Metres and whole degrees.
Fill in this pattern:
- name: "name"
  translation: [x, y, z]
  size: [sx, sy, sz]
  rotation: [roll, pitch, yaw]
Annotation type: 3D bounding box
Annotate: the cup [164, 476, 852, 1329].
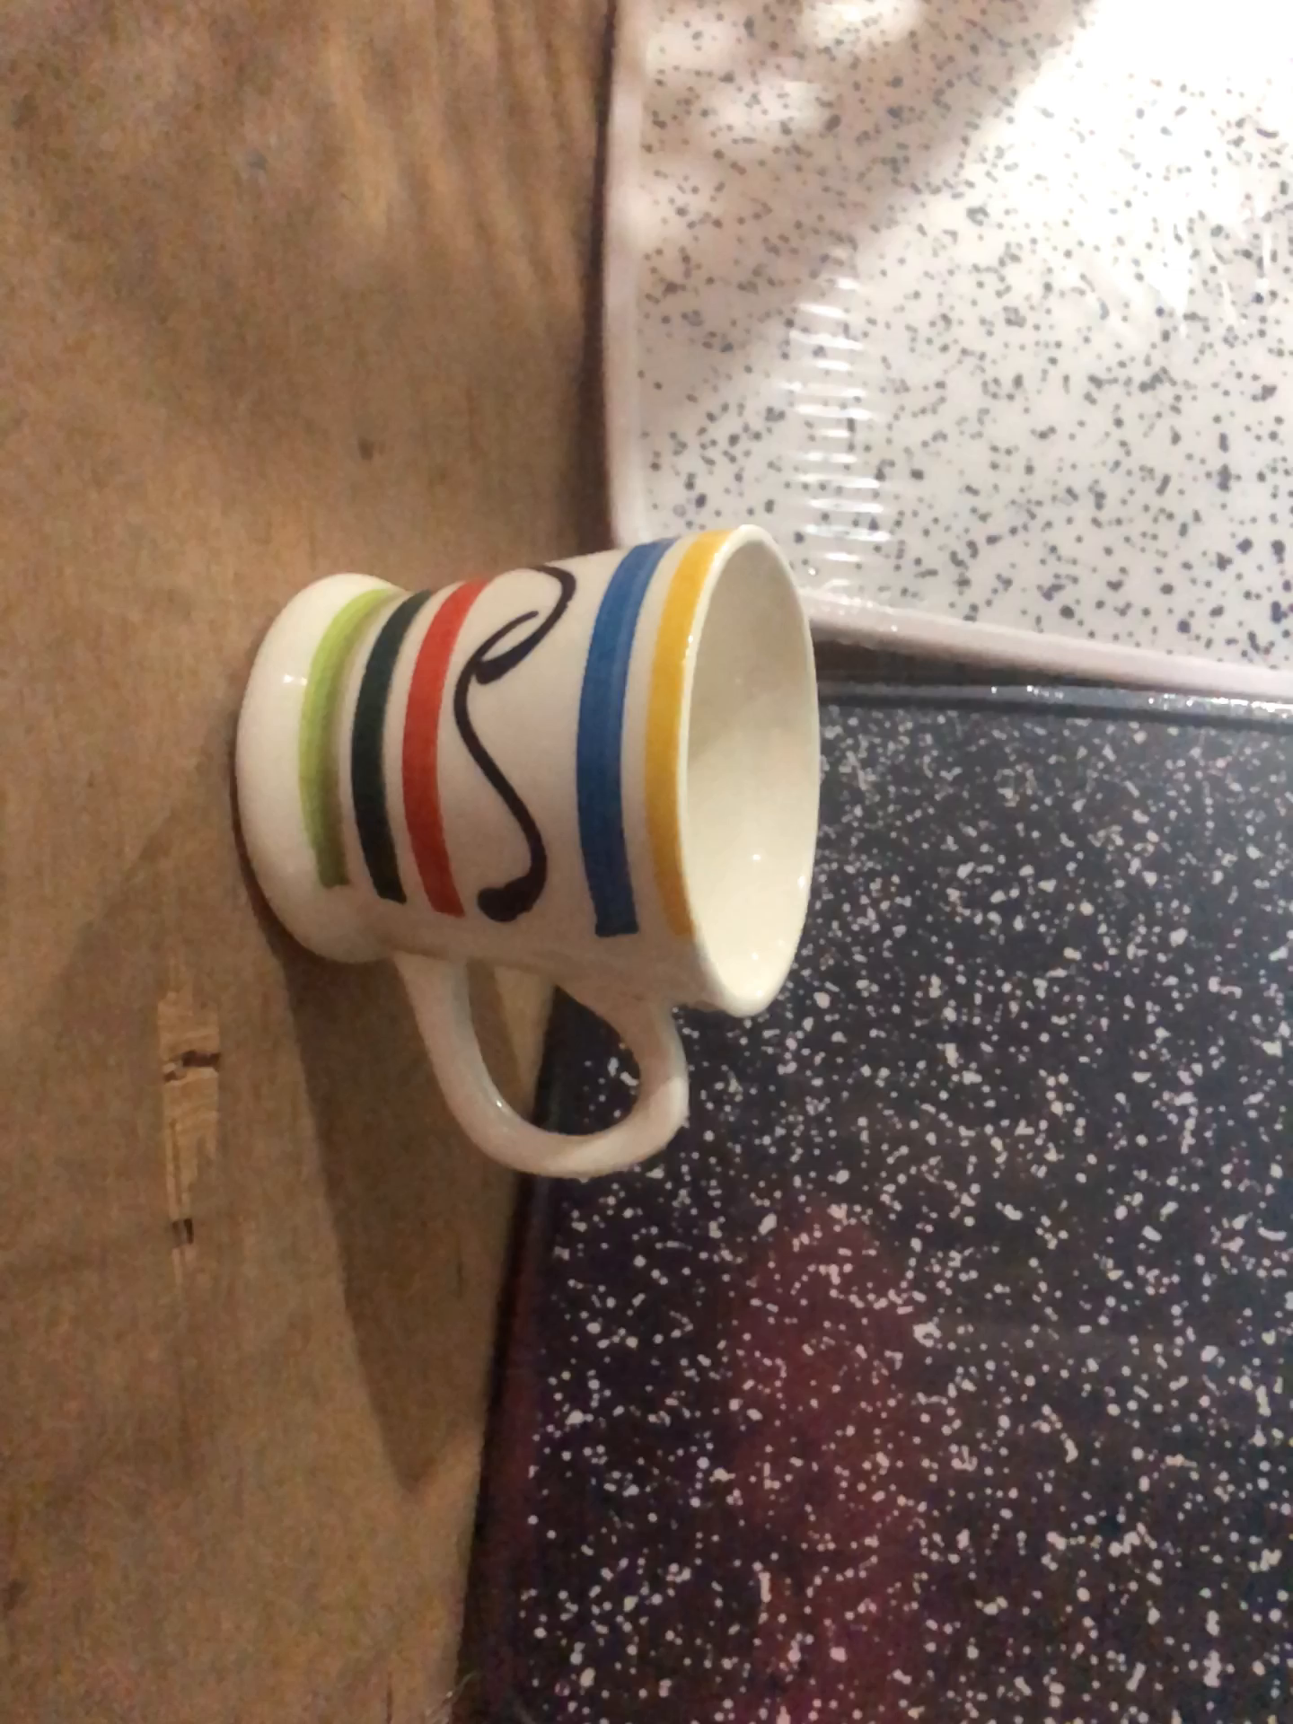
- name: "cup"
  translation: [-0.017, 0.004, 0.212]
  size: [0.060, 0.079, 0.100]
  rotation: [-1, 92, -69]
